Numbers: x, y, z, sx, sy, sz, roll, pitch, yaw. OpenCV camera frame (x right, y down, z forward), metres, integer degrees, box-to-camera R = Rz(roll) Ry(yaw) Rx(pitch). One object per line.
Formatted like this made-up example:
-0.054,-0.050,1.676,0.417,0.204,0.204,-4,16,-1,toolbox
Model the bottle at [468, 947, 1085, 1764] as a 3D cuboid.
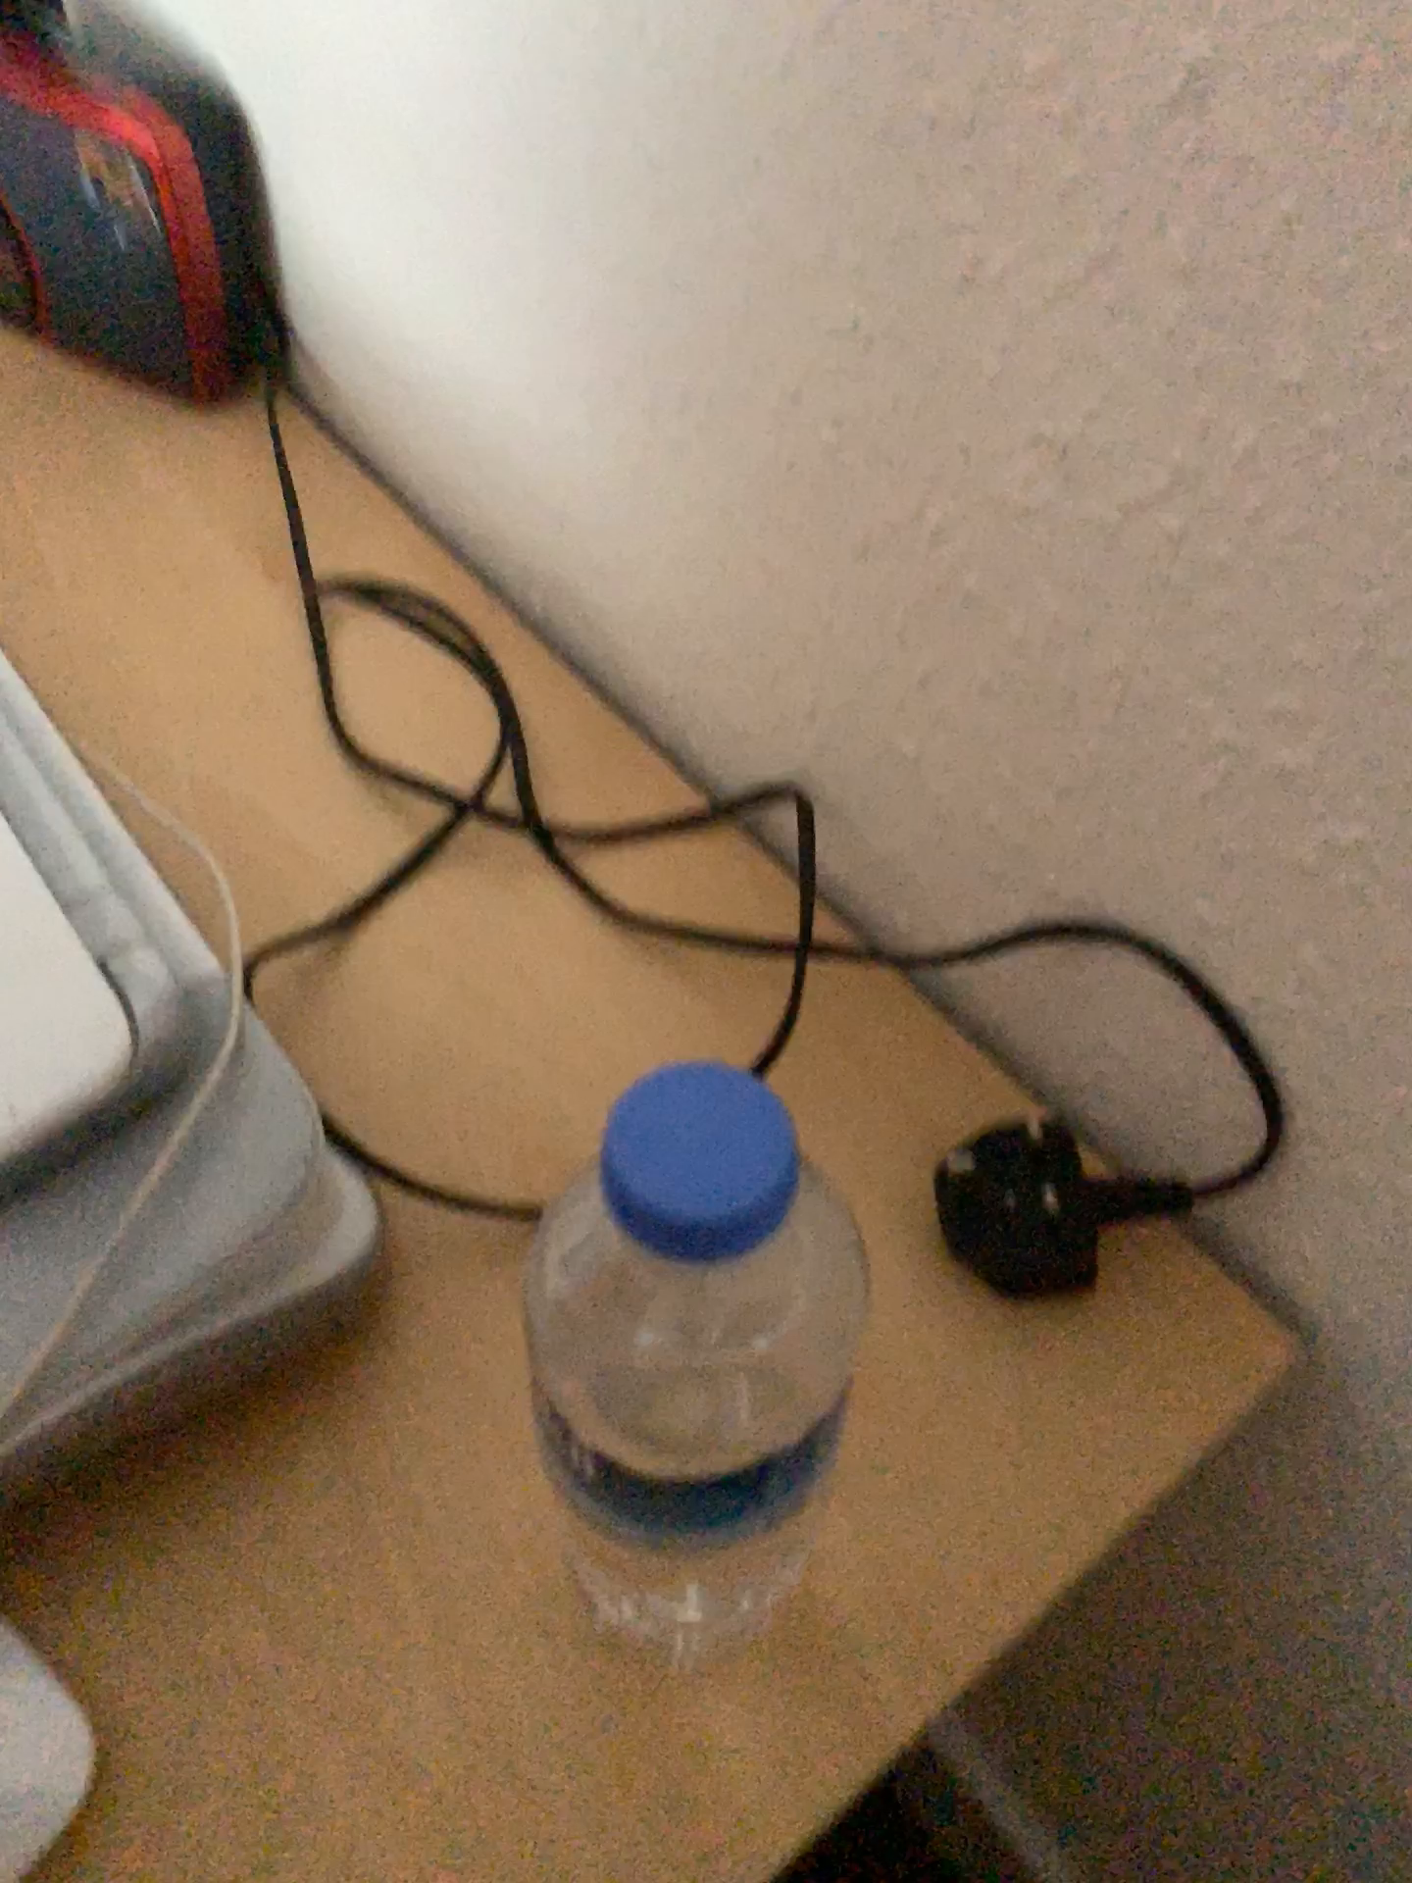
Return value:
0.001,0.094,0.284,0.070,0.188,0.071,3,51,-3,bottle
